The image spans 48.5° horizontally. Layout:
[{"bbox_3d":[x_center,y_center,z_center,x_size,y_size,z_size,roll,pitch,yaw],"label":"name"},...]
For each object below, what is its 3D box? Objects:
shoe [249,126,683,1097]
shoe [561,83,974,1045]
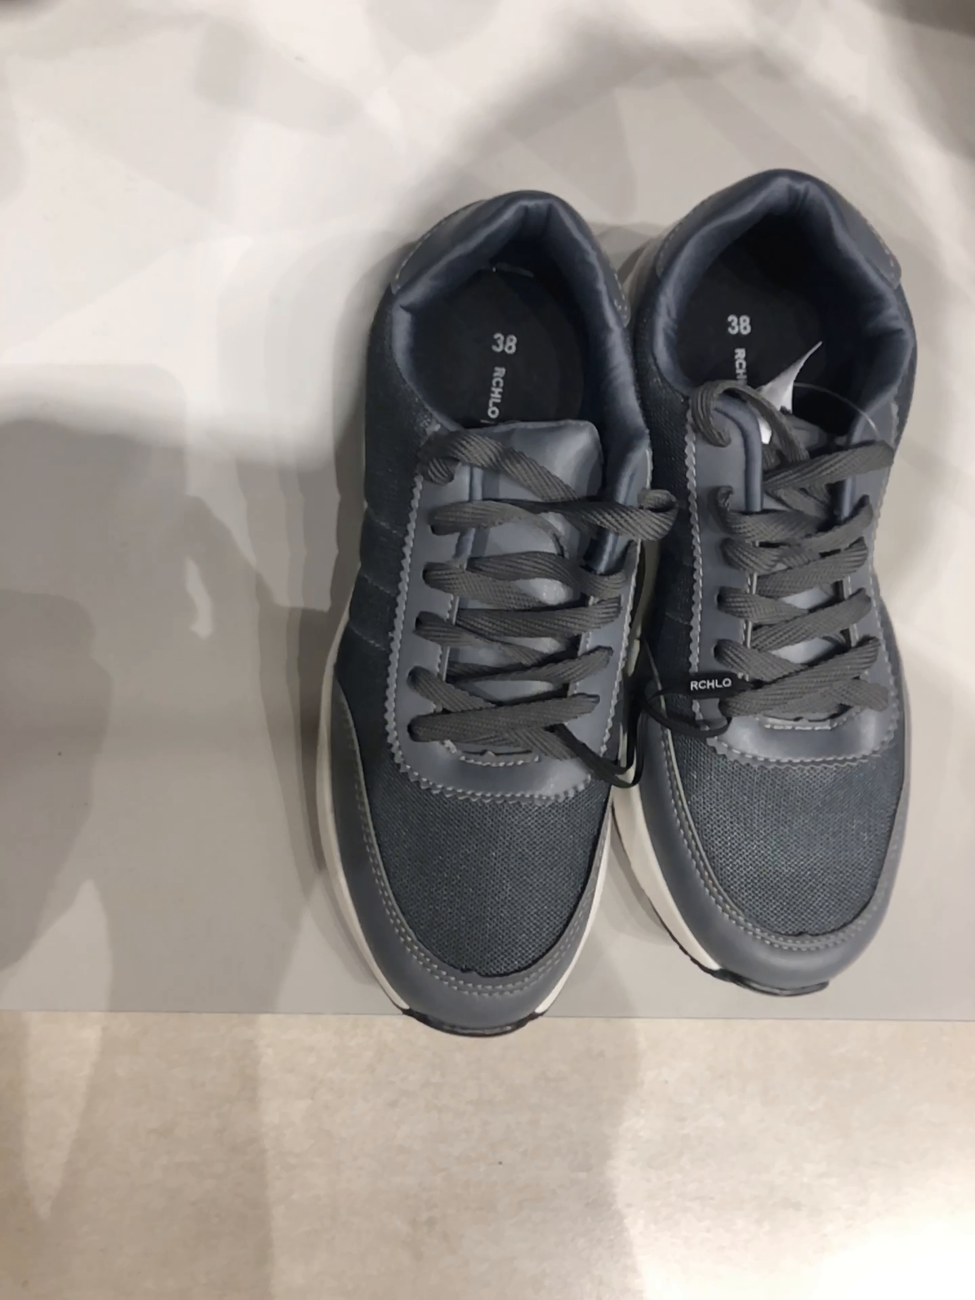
[{"bbox_3d":[-0.007,-0.013,0.354,0.110,0.100,0.280,1,77,-3],"label":"shoe"},{"bbox_3d":[0.092,-0.028,0.355,0.110,0.100,0.280,-1,77,-4],"label":"shoe"}]
